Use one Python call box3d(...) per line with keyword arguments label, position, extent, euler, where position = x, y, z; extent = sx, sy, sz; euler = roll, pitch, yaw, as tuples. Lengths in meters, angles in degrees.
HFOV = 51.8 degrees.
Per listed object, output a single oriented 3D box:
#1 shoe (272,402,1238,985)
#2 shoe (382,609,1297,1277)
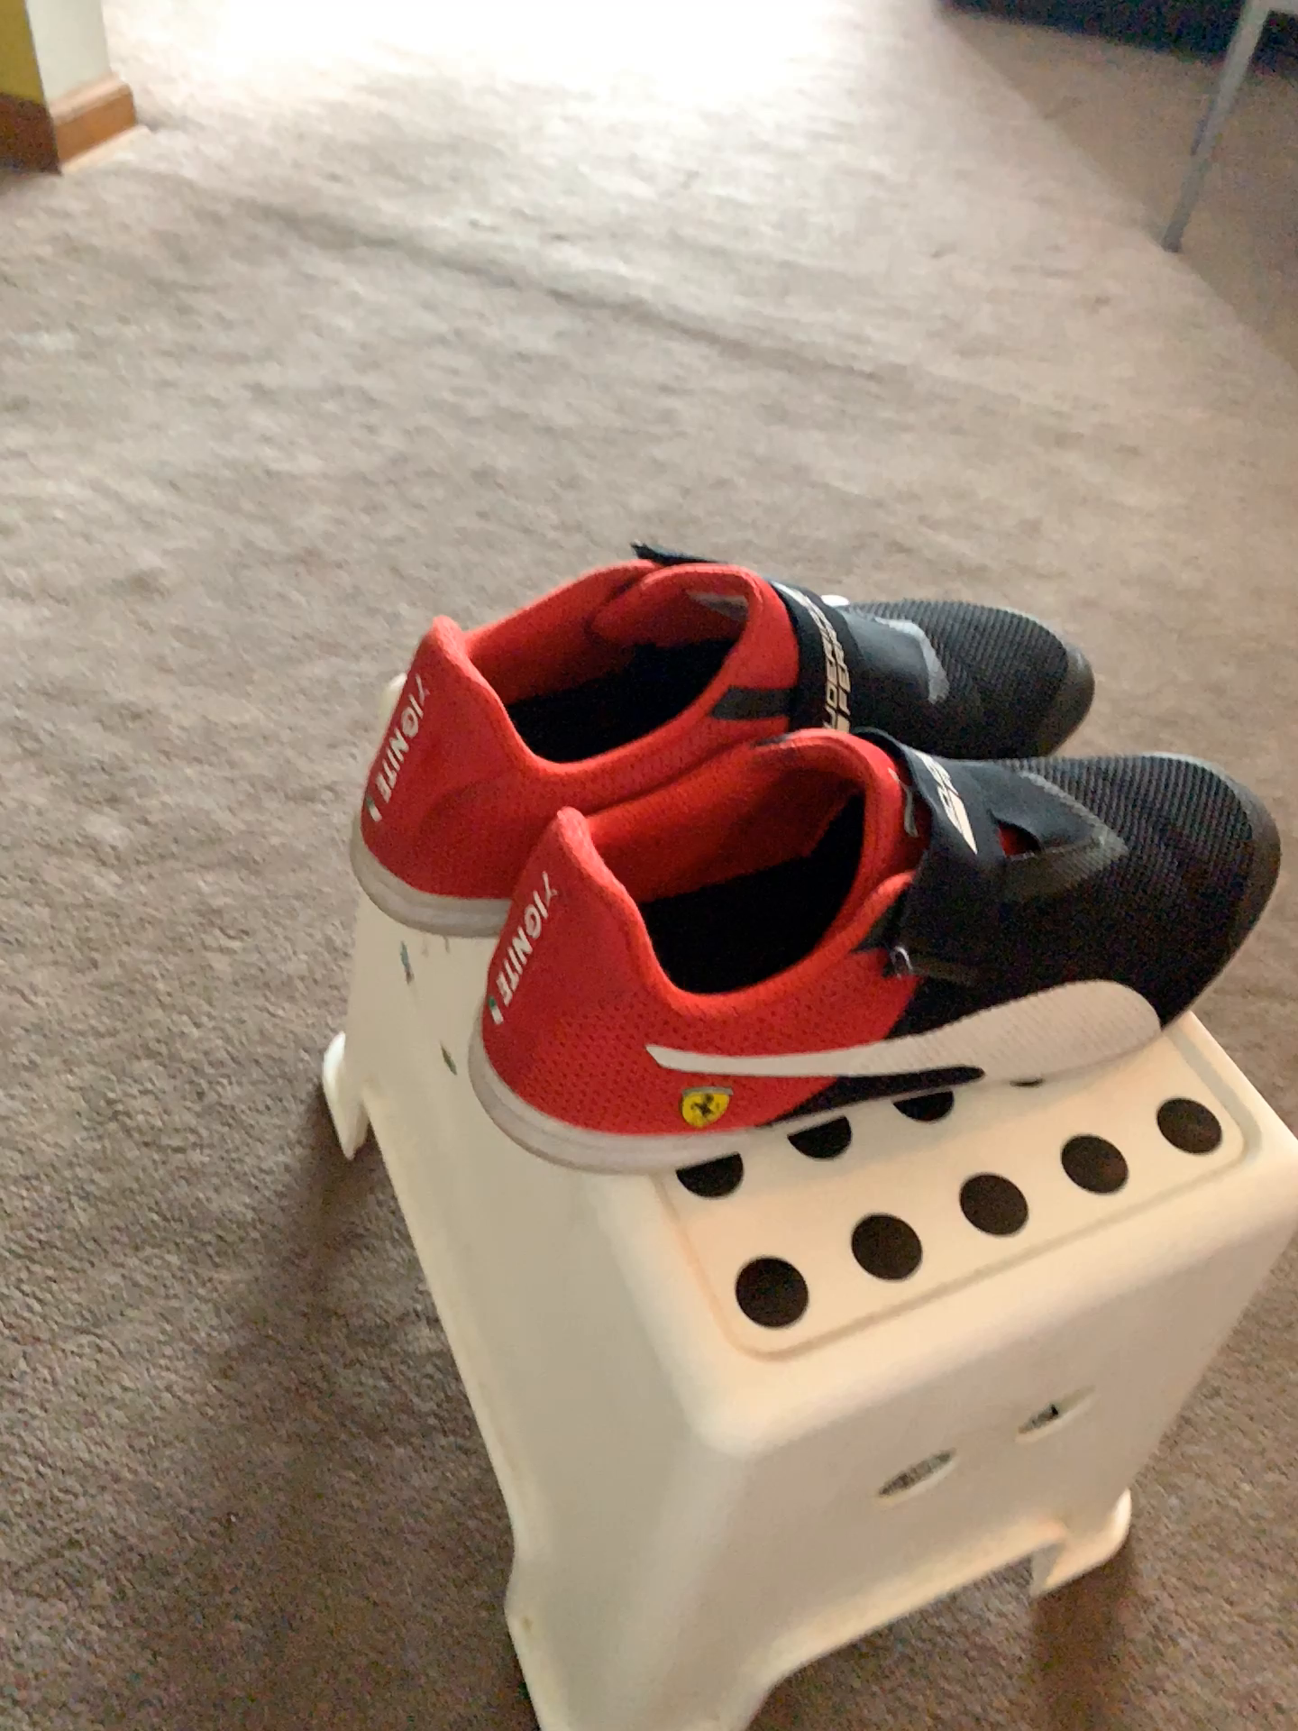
box3d(label="shoe", position=(0.039, -0.072, 0.463), extent=(0.301, 0.089, 0.111), euler=(-17, 52, -23))
box3d(label="shoe", position=(0.081, 0.011, 0.408), extent=(0.301, 0.089, 0.101), euler=(-14, 51, -21))
